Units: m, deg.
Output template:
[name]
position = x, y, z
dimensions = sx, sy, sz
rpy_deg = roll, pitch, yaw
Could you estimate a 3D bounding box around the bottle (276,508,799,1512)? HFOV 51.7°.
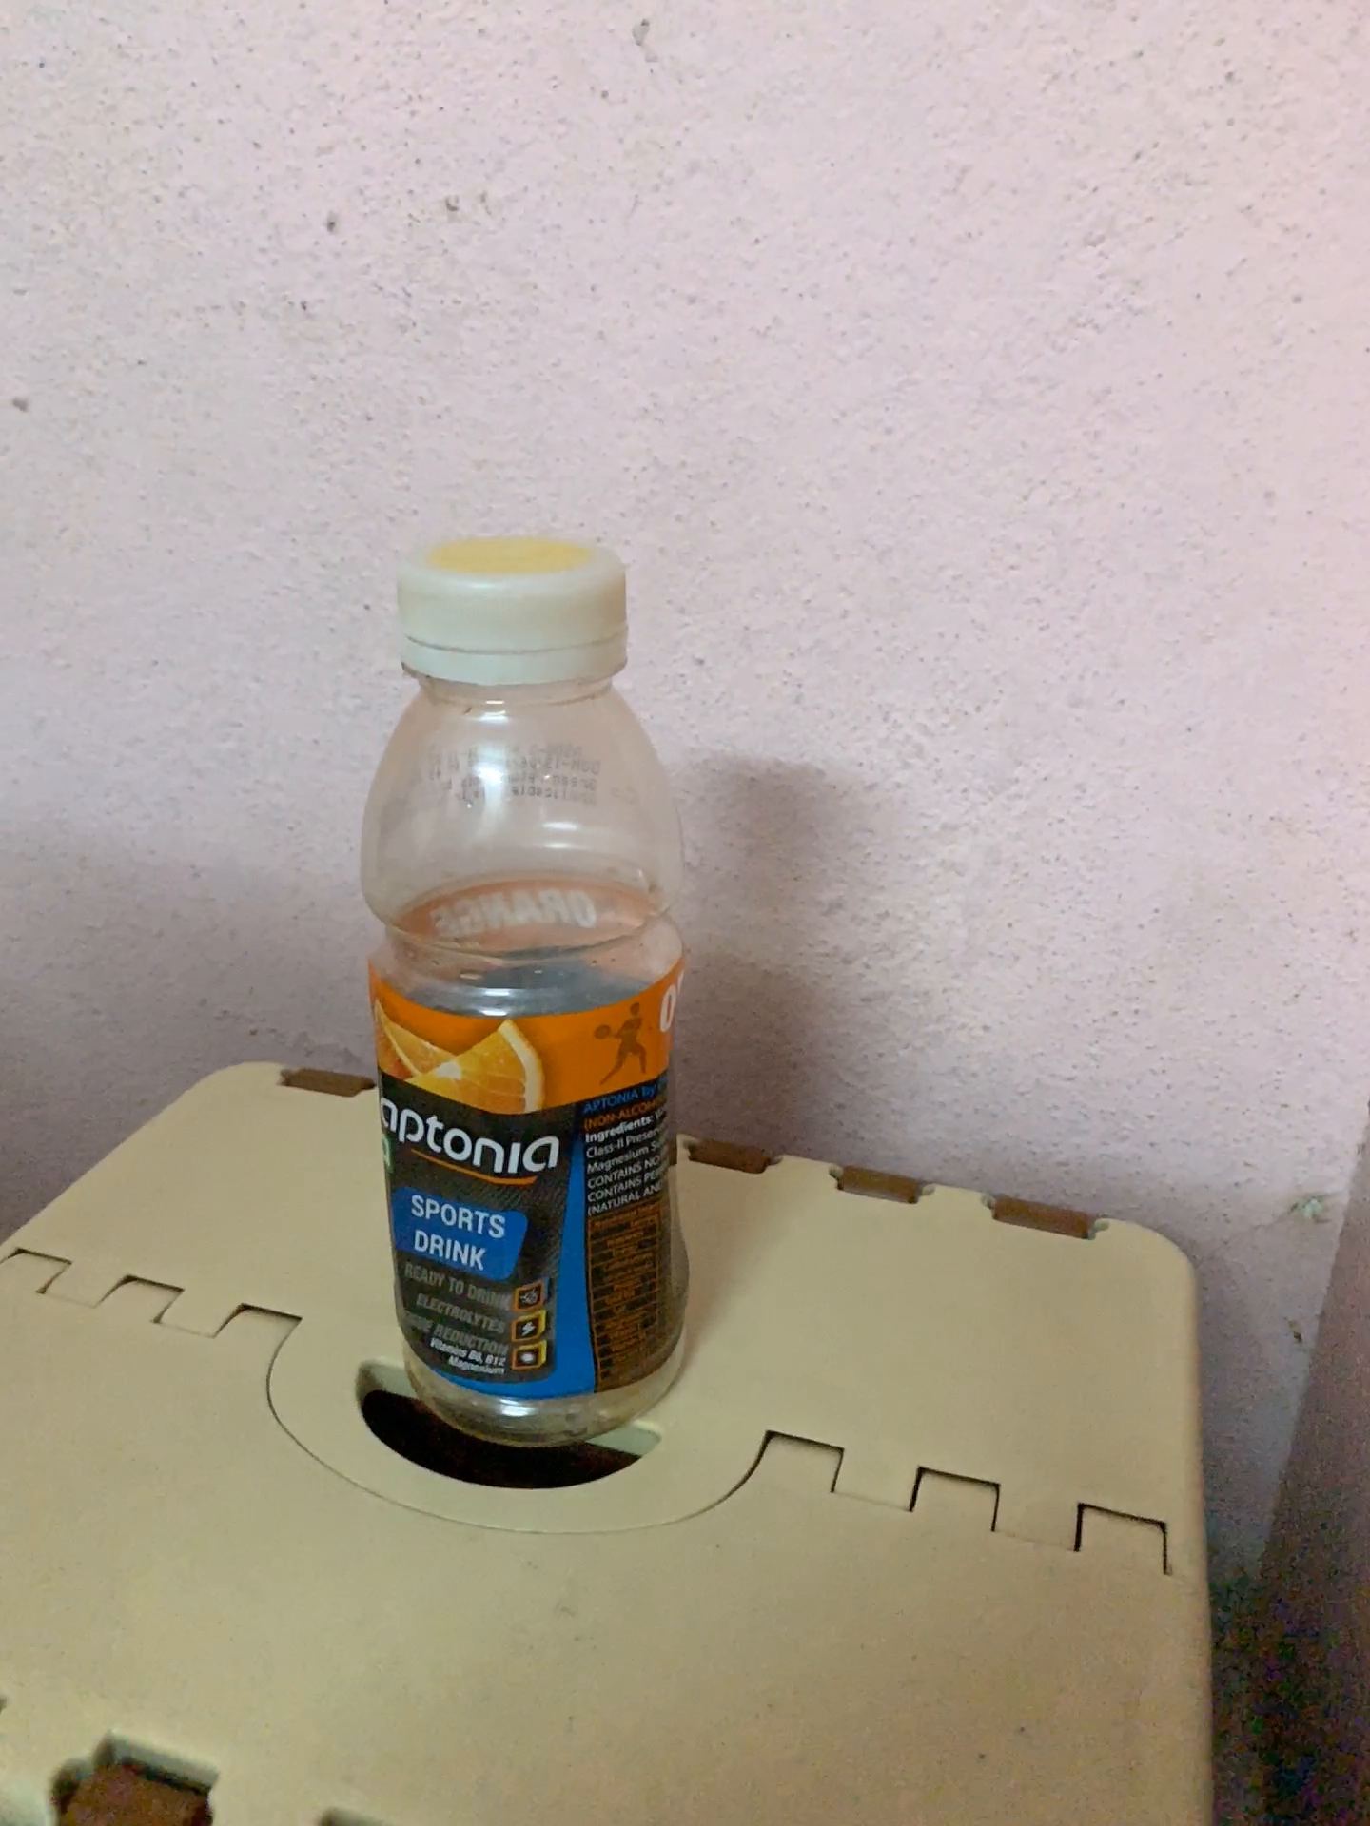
[bottle]
position = -0.024, 0.019, 0.279
dimensions = 0.070, 0.179, 0.060
rpy_deg = 10, 25, 19
